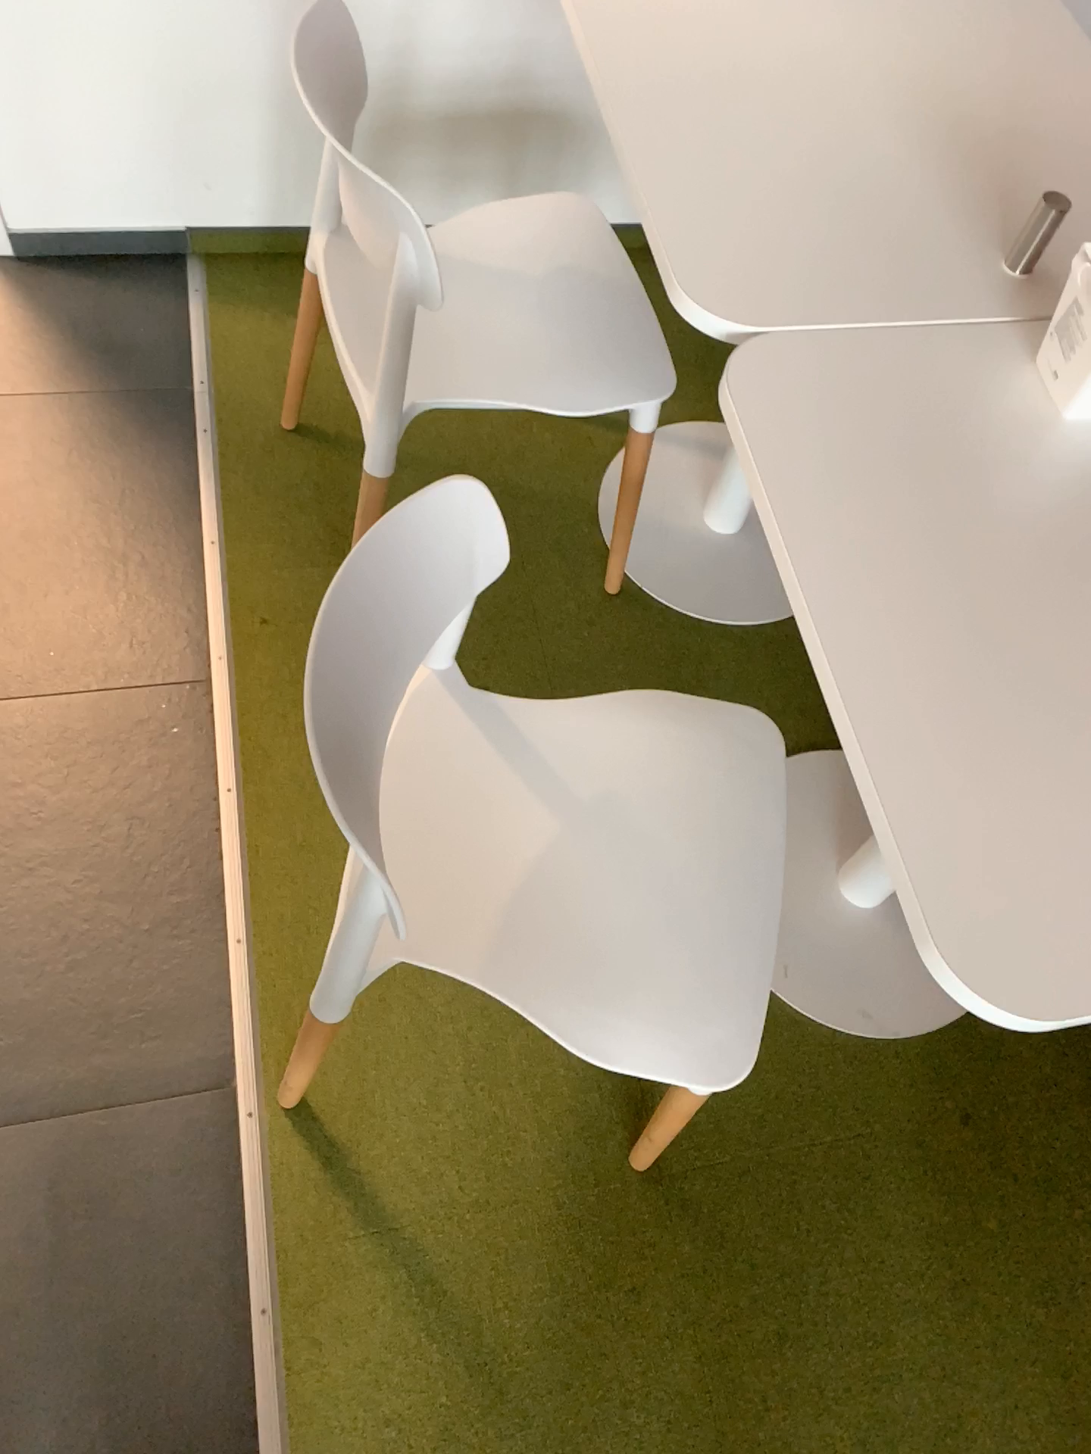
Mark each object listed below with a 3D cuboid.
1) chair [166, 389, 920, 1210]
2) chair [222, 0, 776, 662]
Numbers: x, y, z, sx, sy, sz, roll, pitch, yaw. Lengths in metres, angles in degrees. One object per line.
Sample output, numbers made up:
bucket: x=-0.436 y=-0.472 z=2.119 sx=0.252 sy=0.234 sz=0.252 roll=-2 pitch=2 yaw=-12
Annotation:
chair: x=-0.007 y=0.151 z=1.205 sx=0.500 sy=0.748 sz=0.511 roll=15 pitch=60 yaw=0
chair: x=-0.115 y=-0.566 z=1.605 sx=0.511 sy=0.728 sz=0.561 roll=-12 pitch=64 yaw=-15
